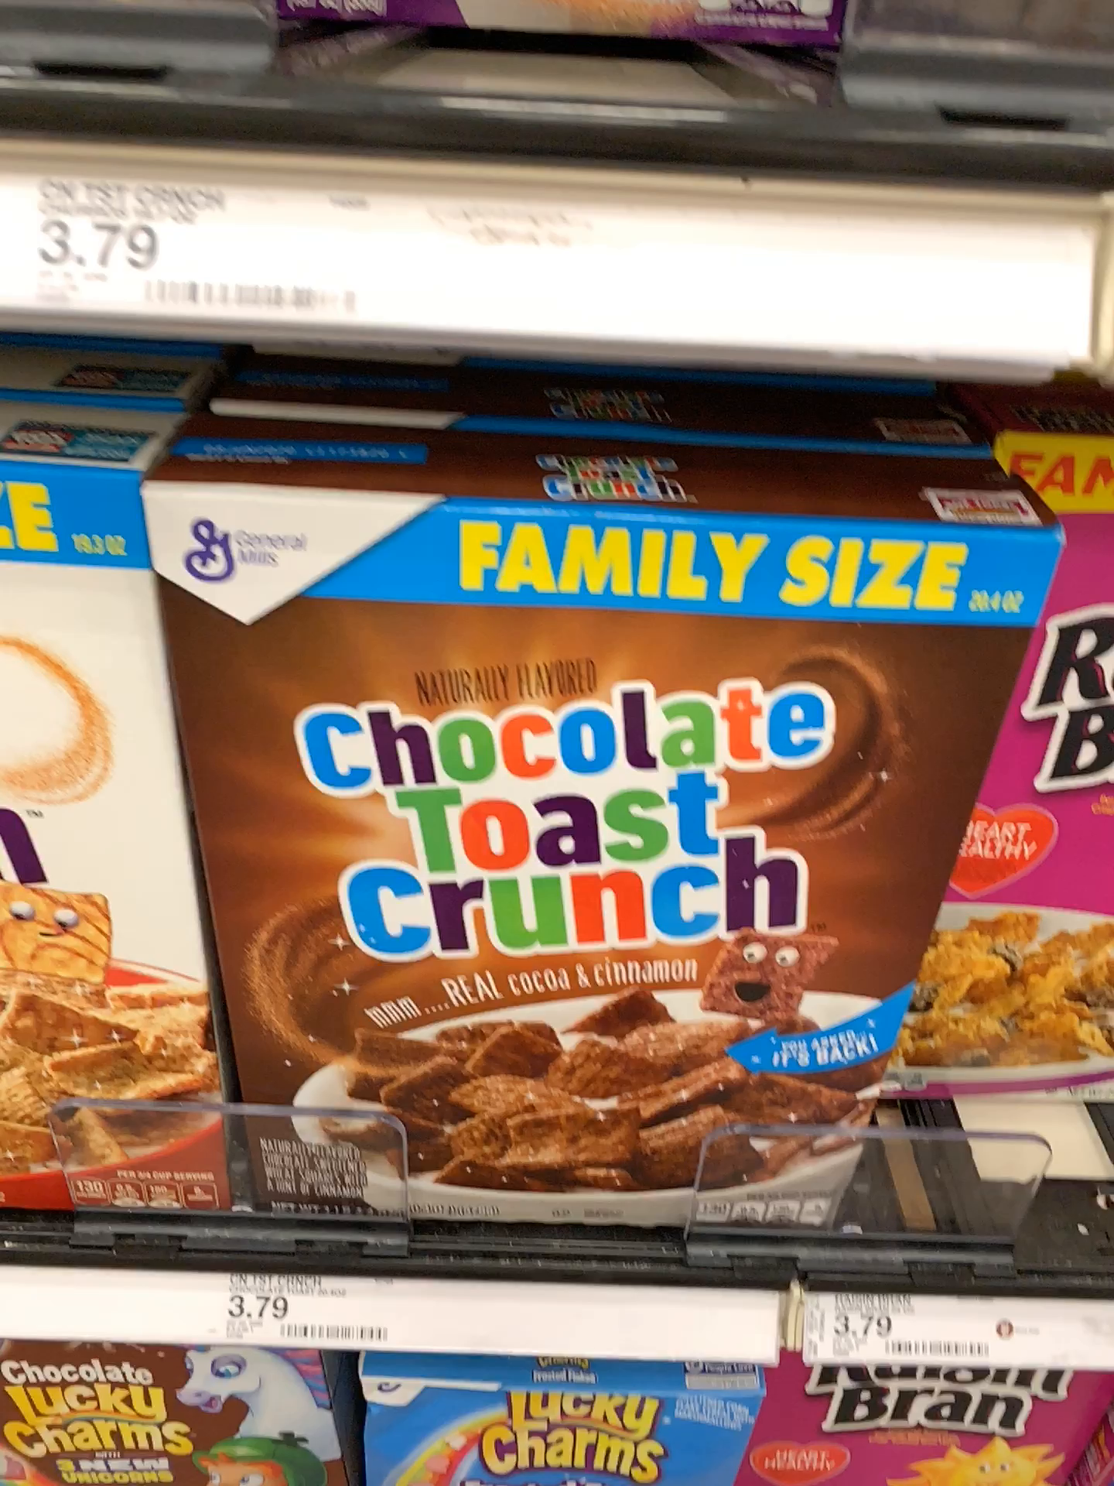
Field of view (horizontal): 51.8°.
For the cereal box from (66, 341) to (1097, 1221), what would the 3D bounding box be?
[{"bbox_3d":[0.000,0.038,0.380,0.240,0.308,0.060,2,35,-2],"label":"cereal box"}]
